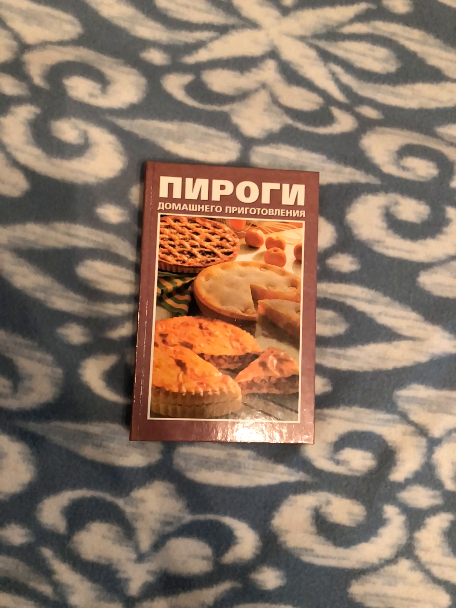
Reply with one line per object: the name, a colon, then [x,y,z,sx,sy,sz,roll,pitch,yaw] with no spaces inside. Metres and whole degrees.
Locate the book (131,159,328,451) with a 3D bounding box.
book: [0.002,0.001,0.376,0.131,0.040,0.201,3,84,-4]
